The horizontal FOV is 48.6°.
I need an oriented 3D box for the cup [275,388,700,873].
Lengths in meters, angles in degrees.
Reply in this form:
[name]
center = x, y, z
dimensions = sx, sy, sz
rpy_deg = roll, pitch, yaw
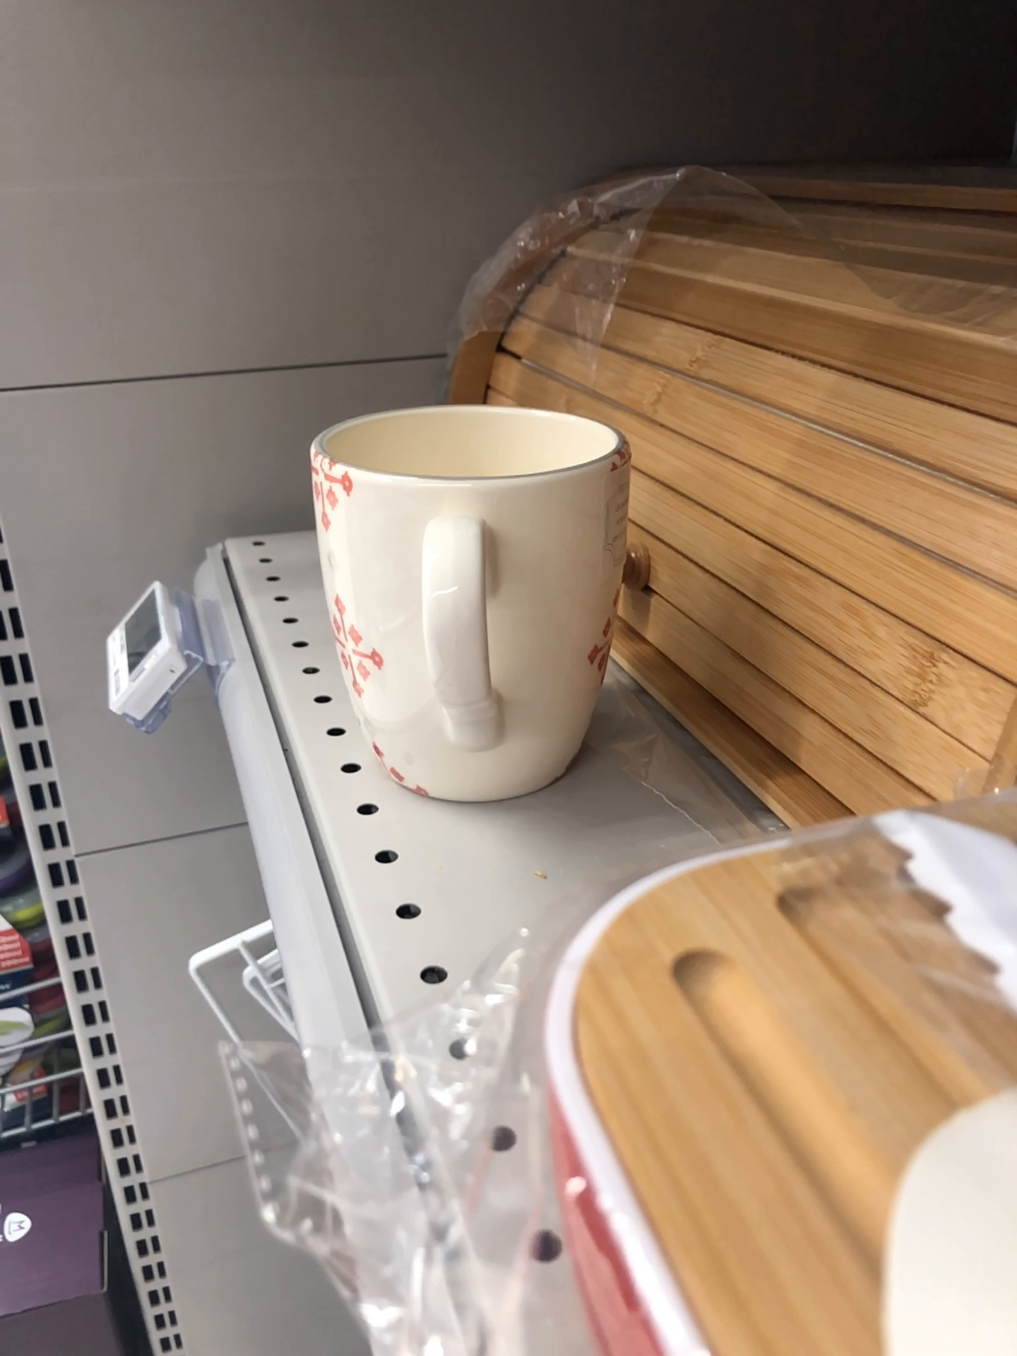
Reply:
[cup]
center = -0.006, -0.022, 0.313
dimensions = 0.090, 0.089, 0.125
rpy_deg = -2, 26, -2
